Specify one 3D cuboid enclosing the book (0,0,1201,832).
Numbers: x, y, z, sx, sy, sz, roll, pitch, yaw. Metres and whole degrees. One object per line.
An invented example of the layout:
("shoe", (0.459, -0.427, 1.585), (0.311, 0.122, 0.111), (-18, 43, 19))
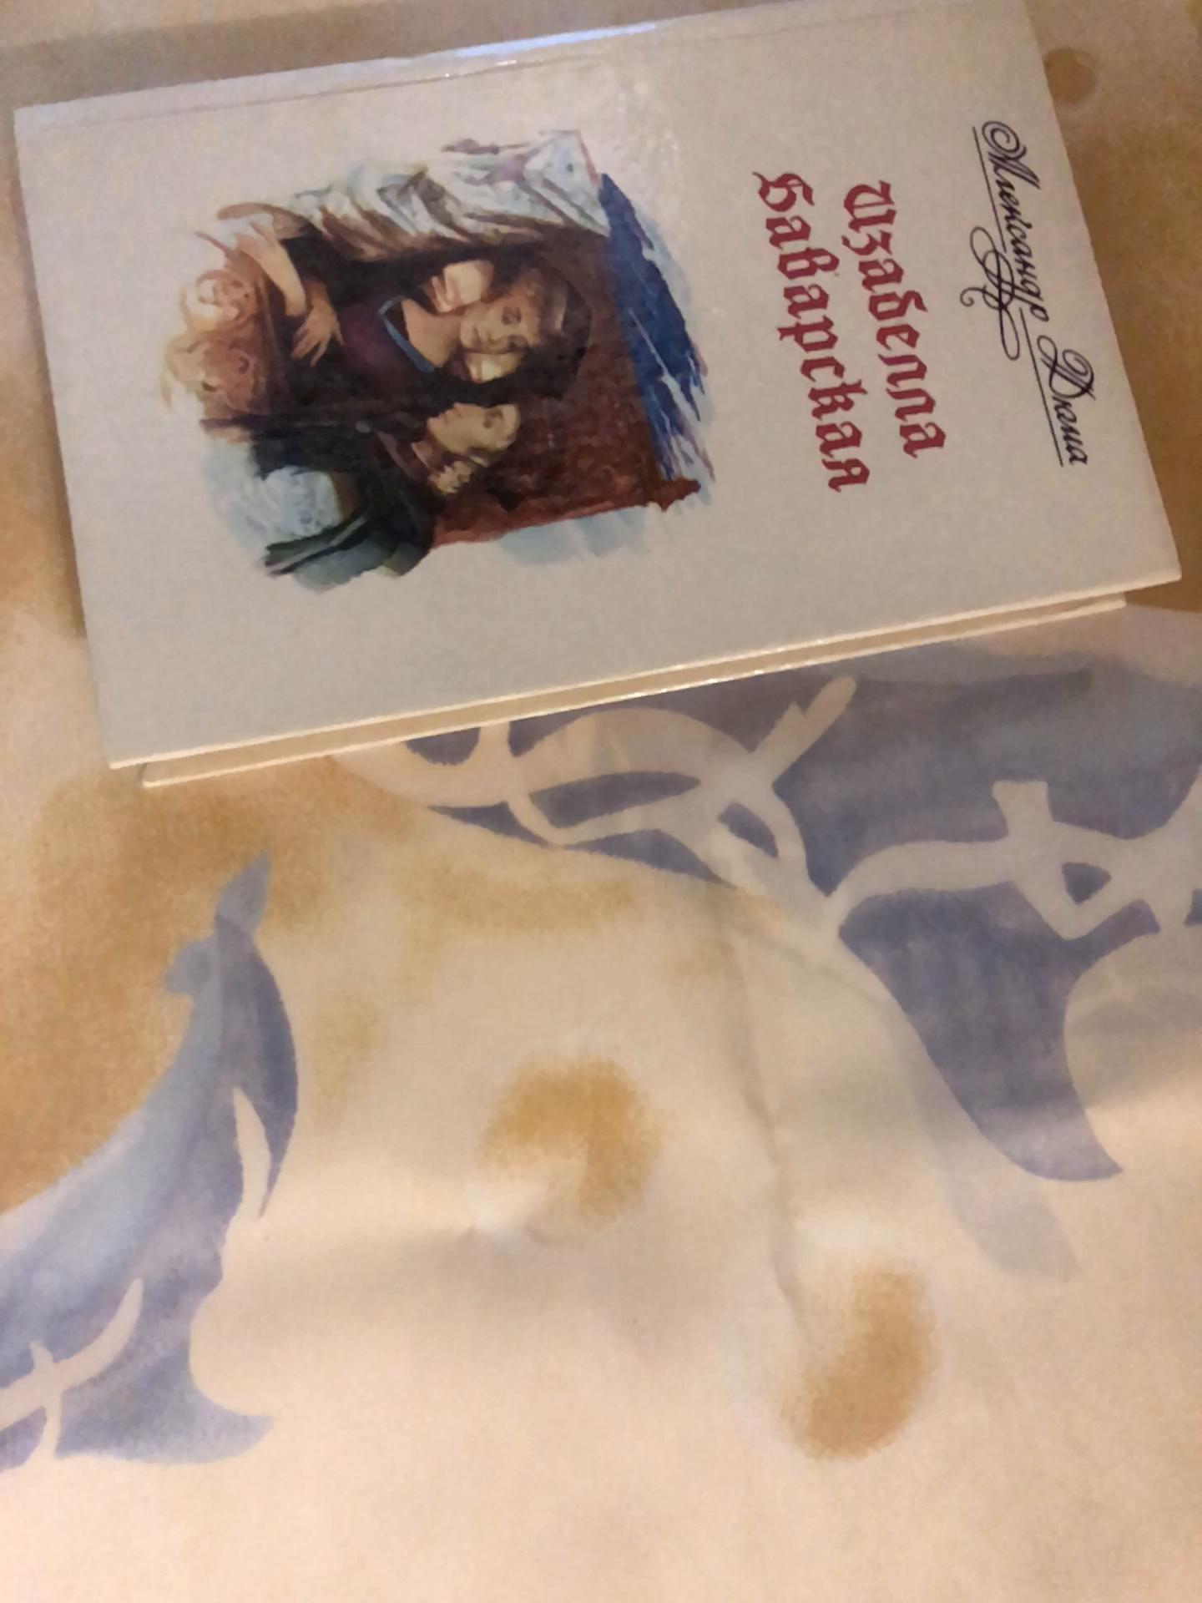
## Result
("book", (-0.002, -0.083, 0.268), (0.208, 0.026, 0.139), (-11, 81, -5))
